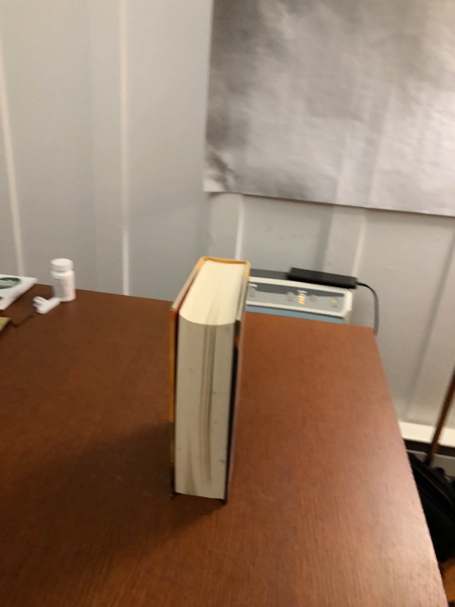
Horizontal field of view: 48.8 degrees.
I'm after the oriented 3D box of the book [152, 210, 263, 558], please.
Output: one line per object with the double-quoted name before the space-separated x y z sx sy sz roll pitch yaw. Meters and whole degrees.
"book" -0.018 0.075 0.544 0.070 0.298 0.211 7 25 6
